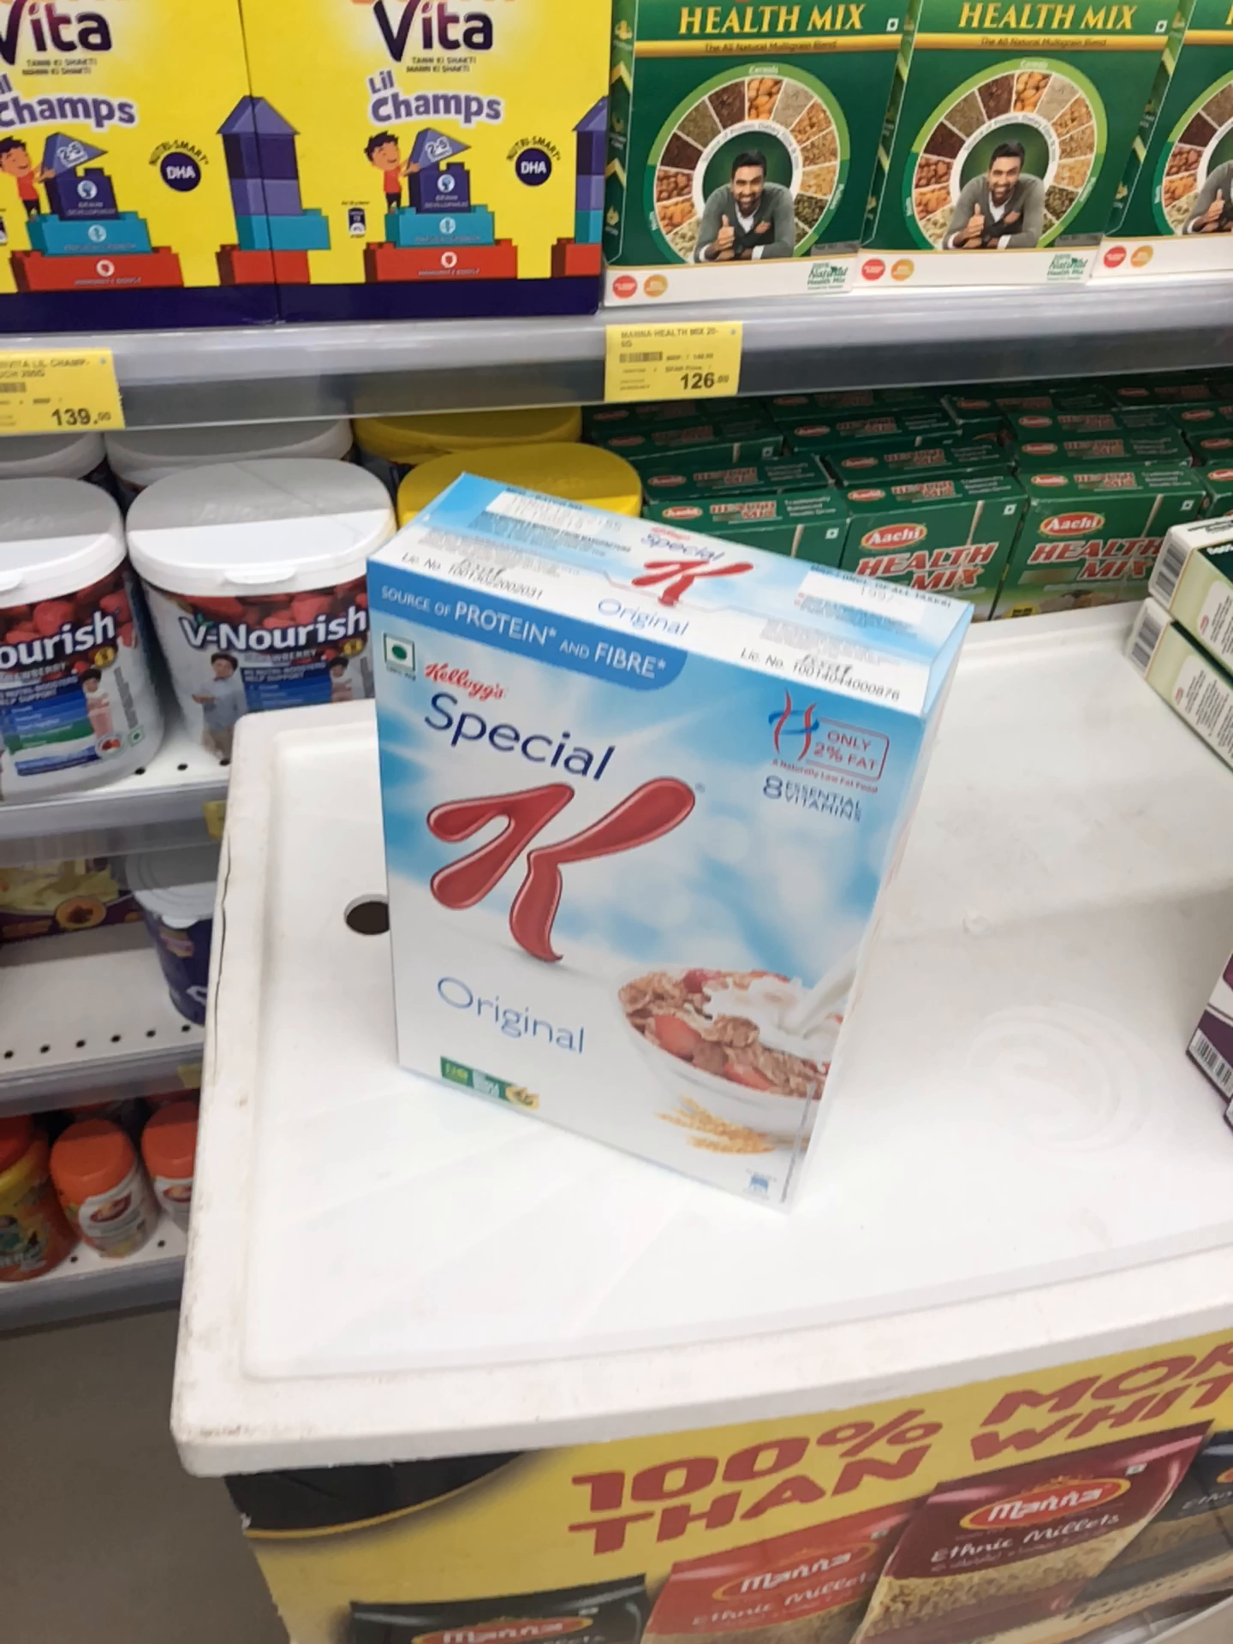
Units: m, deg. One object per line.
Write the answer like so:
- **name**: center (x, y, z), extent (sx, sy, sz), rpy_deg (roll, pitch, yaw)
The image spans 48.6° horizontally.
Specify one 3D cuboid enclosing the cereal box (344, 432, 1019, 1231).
- **cereal box**: center (0.011, 0.015, 0.495), extent (0.190, 0.259, 0.070), rpy_deg (18, 44, 13)
